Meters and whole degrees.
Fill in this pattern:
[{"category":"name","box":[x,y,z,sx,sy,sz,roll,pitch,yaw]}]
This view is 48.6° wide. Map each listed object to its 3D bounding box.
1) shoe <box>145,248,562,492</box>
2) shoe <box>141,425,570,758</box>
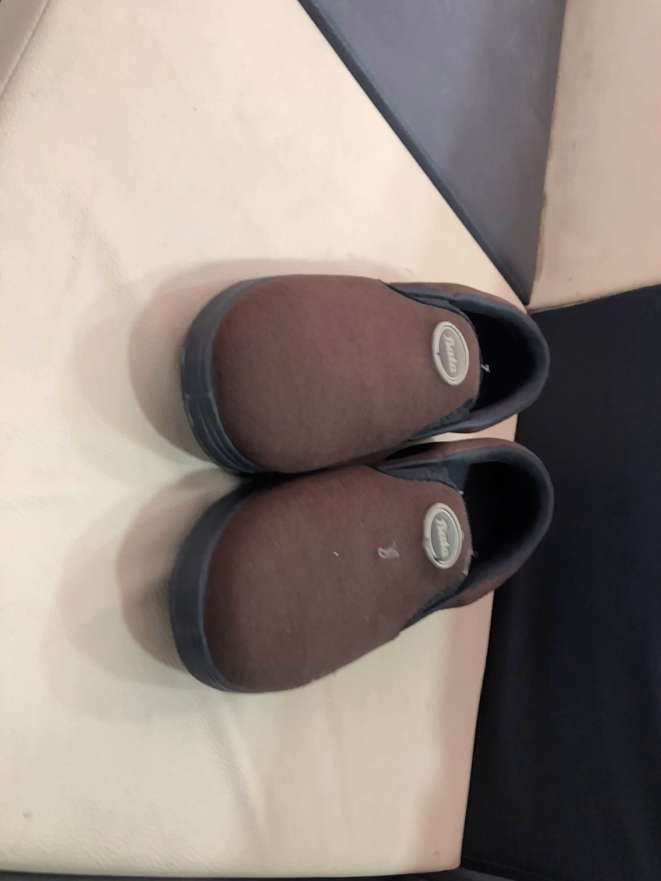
[{"category":"shoe","box":[0.034,-0.042,0.402,0.252,0.089,0.090,-13,96,-52]},{"category":"shoe","box":[0.039,0.056,0.396,0.272,0.079,0.090,-13,96,-52]}]
